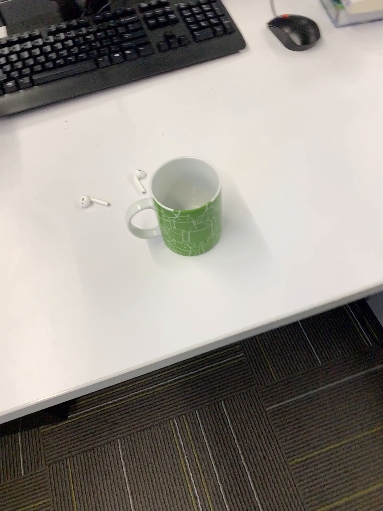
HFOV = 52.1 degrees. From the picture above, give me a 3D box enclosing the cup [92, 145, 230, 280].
[{"bbox_3d":[-0.032,-0.048,0.454,0.130,0.090,0.090,-16,60,-4],"label":"cup"}]
